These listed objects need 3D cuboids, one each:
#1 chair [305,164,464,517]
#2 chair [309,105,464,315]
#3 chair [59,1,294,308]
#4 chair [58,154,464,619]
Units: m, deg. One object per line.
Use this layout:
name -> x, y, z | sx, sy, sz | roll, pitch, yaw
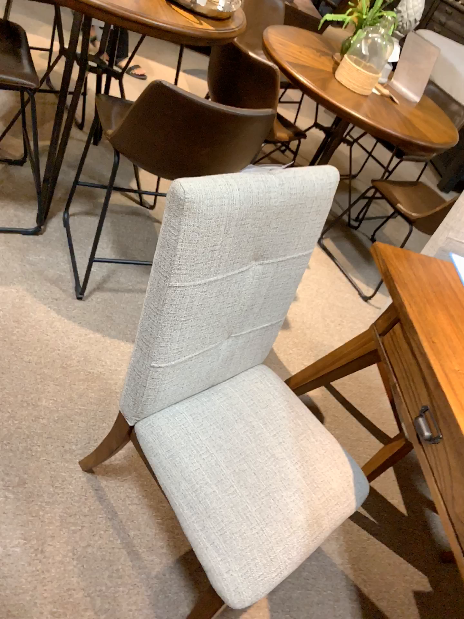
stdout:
chair -> 0.729, 0.162, 1.503 | 0.515, 0.913, 0.599 | 11, 43, -20
chair -> 0.903, -0.472, 2.360 | 0.526, 0.744, 0.598 | -8, 53, -35
chair -> -0.272, -0.479, 1.694 | 0.495, 0.793, 0.568 | 0, 50, -29
chair -> 0.040, 0.244, 1.046 | 0.486, 0.913, 0.628 | -17, 58, -39
